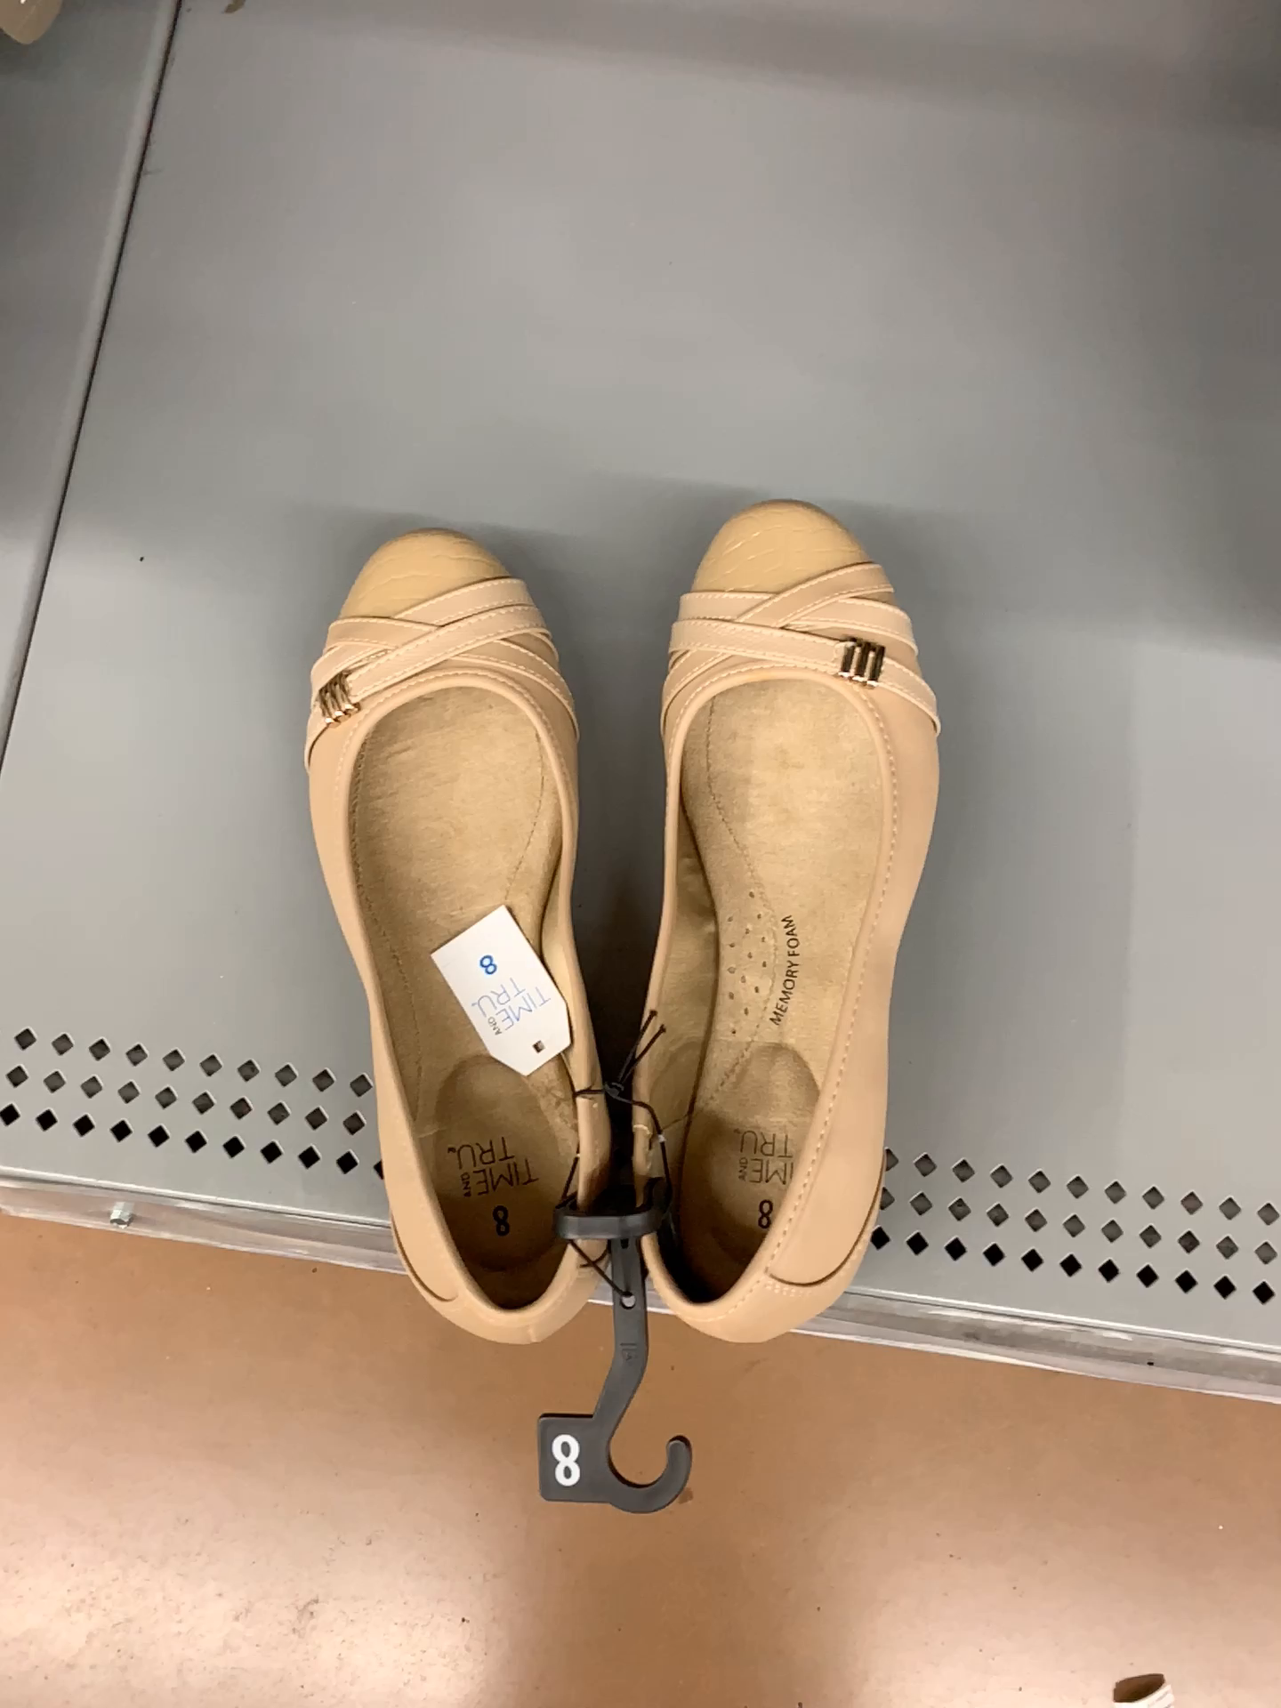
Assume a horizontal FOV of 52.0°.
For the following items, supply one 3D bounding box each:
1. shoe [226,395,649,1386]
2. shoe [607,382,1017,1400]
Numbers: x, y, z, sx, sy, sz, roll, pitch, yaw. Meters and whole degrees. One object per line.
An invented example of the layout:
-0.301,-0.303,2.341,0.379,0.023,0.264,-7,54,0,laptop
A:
-0.063,0.010,0.428,0.100,0.100,0.280,-6,80,-1,shoe
0.051,0.009,0.415,0.100,0.100,0.280,4,80,0,shoe
